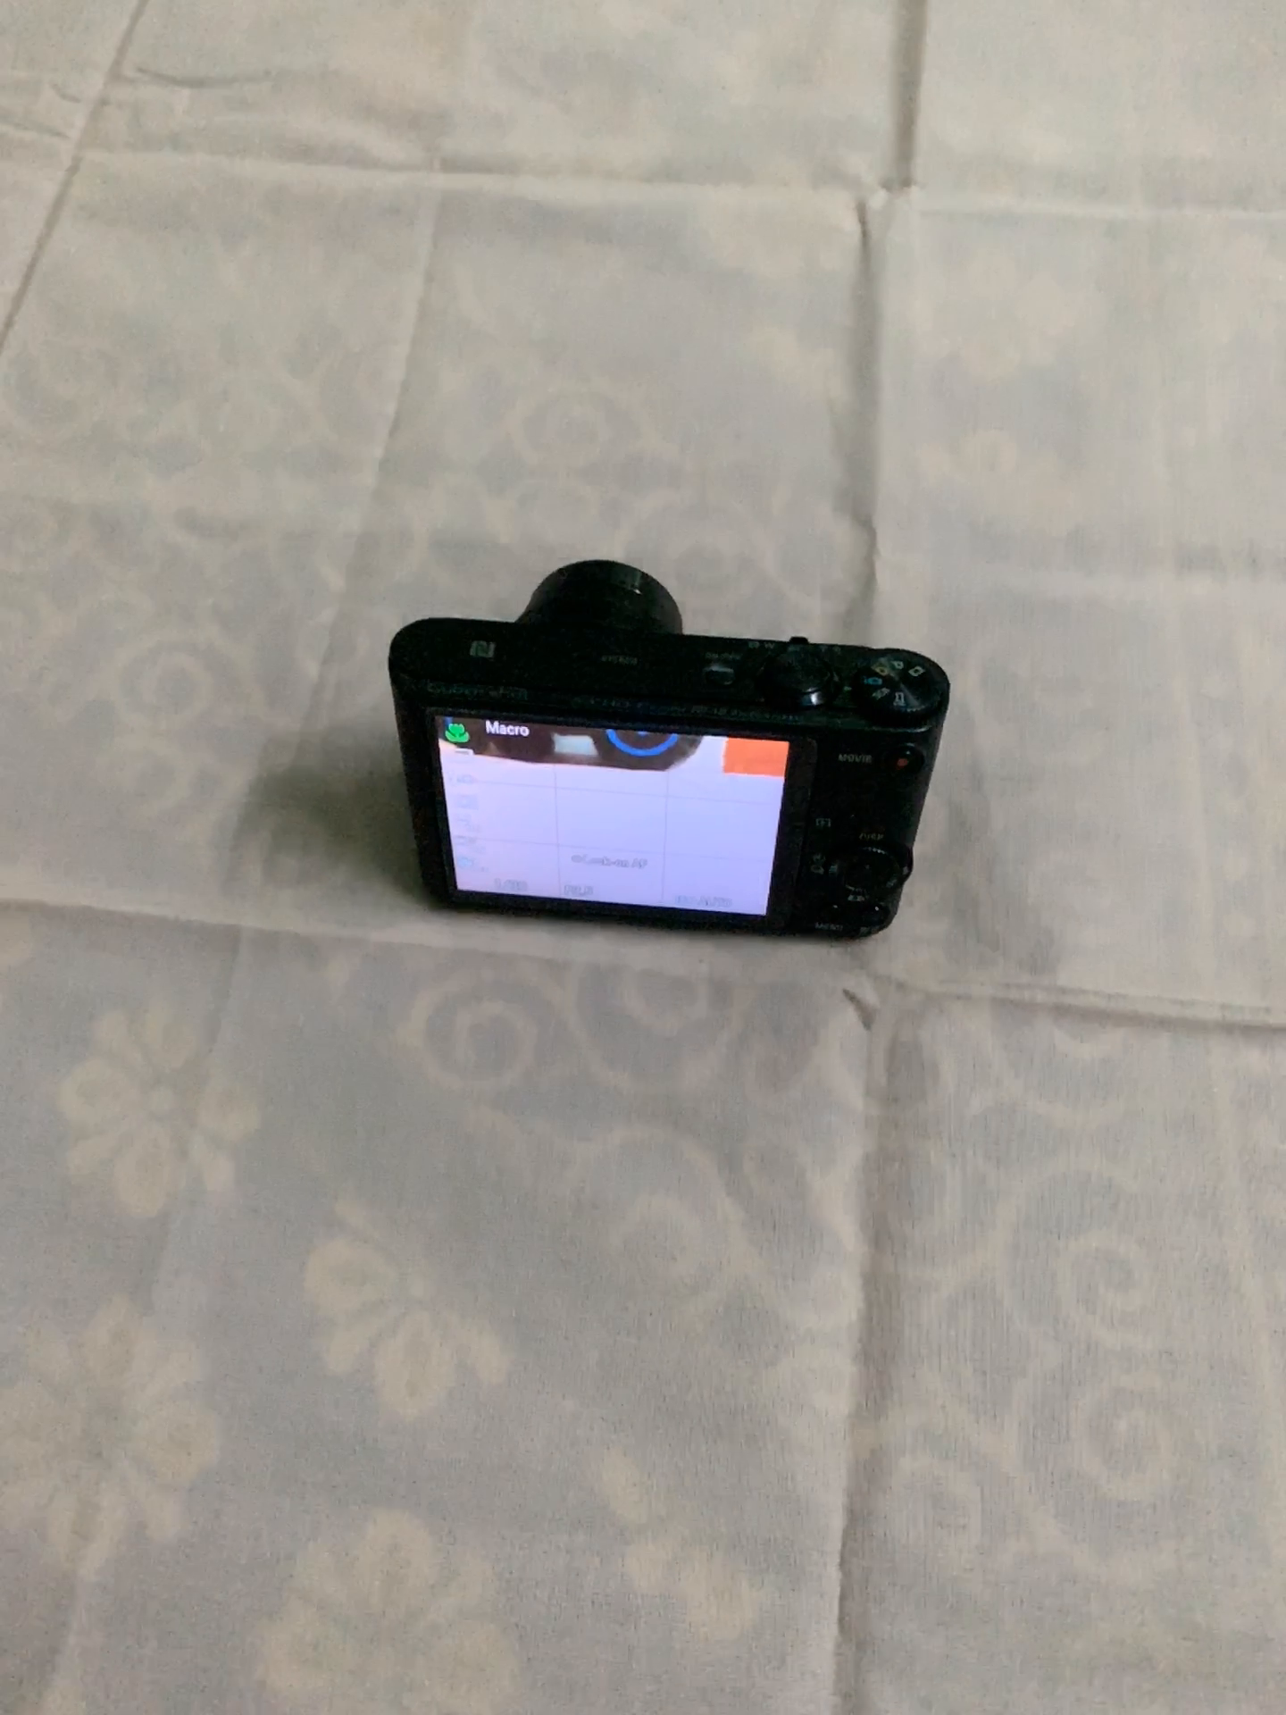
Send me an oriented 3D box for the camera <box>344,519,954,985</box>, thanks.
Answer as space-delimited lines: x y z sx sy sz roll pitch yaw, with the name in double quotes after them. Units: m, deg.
0.003 -0.020 0.259 0.100 0.060 0.058 4 54 3 "camera"
